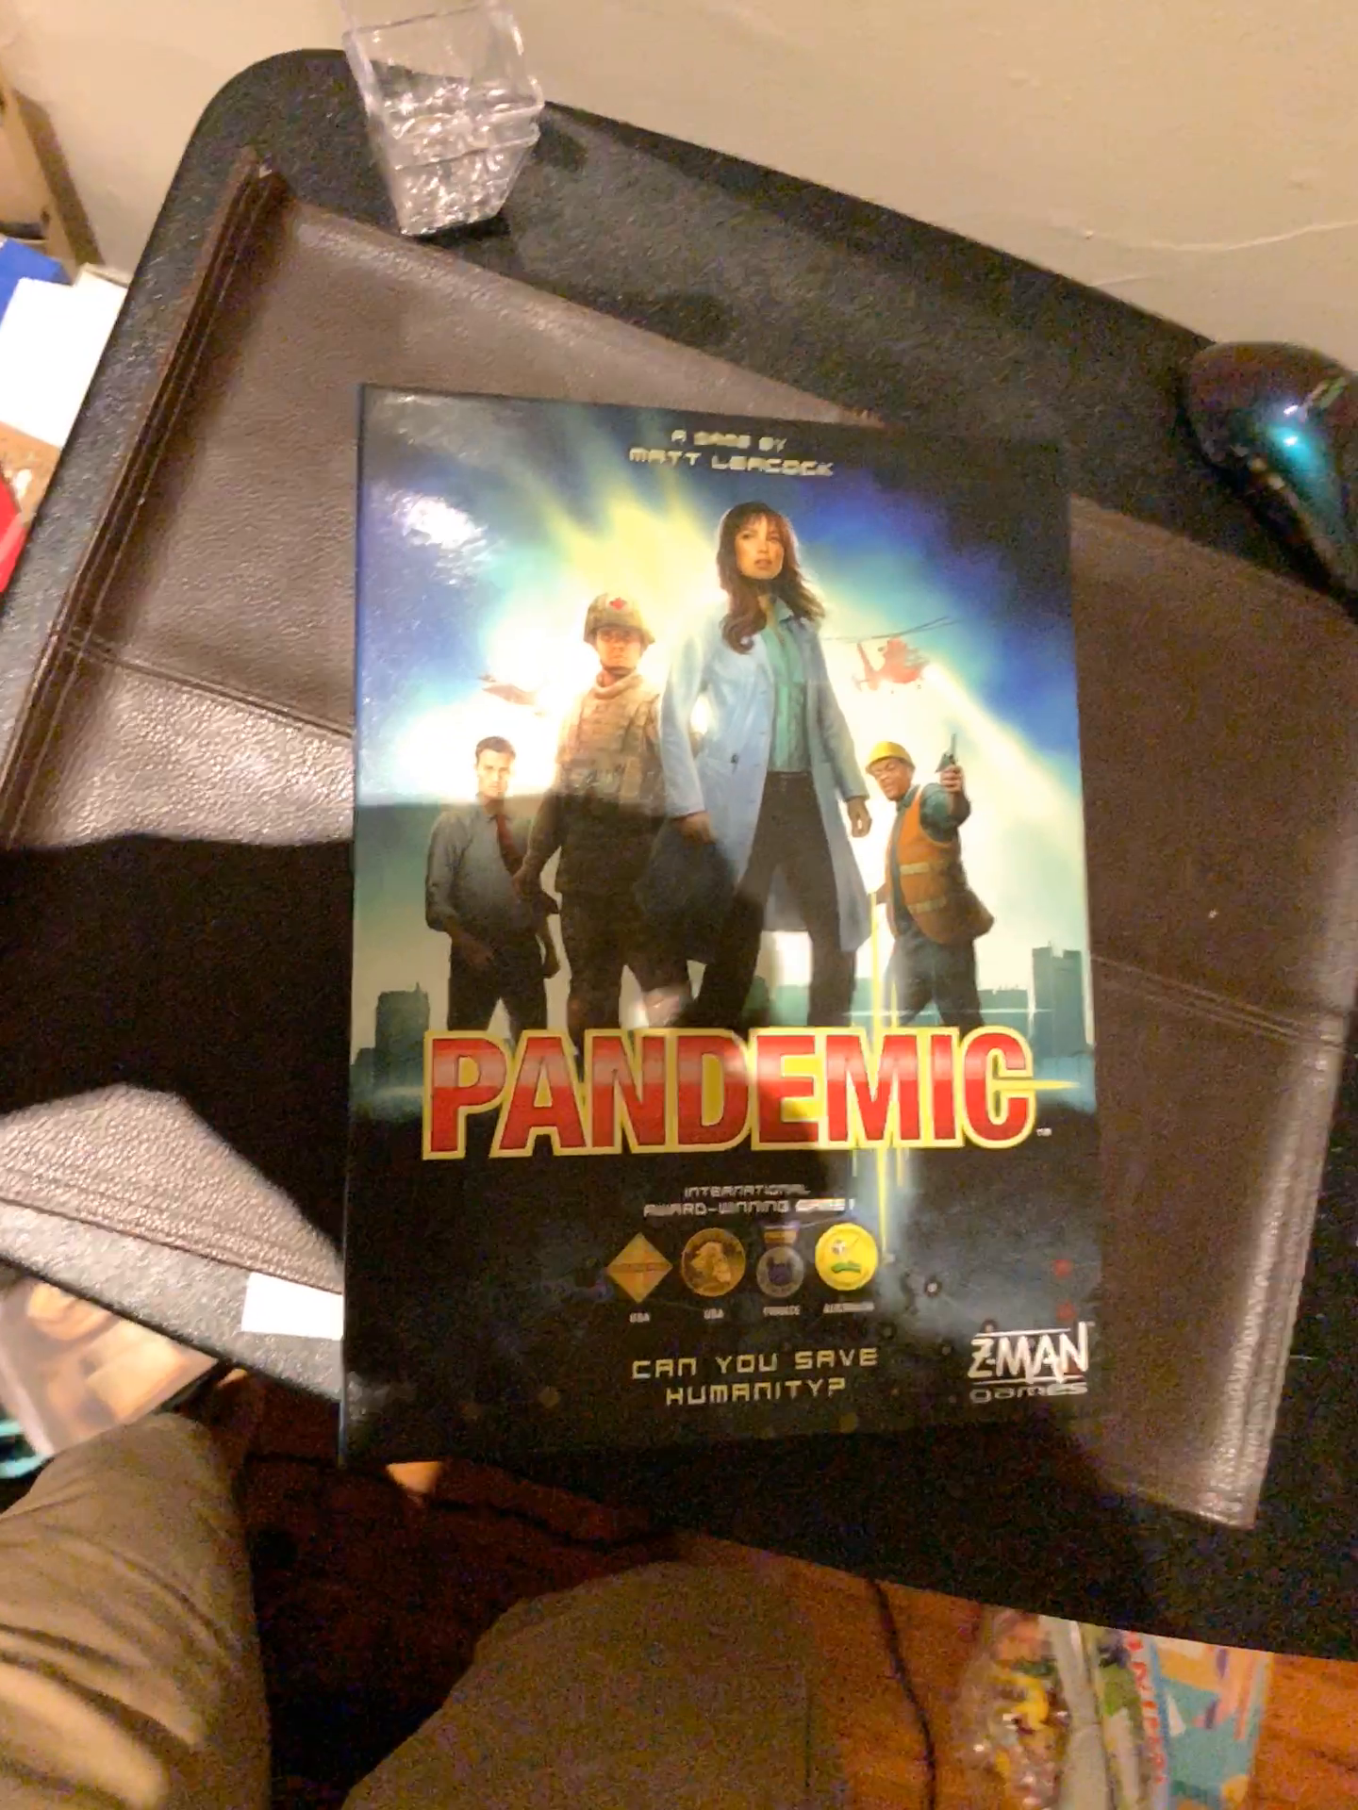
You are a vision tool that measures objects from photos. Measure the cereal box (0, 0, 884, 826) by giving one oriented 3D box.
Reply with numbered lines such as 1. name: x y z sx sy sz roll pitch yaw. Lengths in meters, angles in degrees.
1. cereal box: -0.313 -0.485 1.160 0.470 1.000 0.510 -30 89 -13
